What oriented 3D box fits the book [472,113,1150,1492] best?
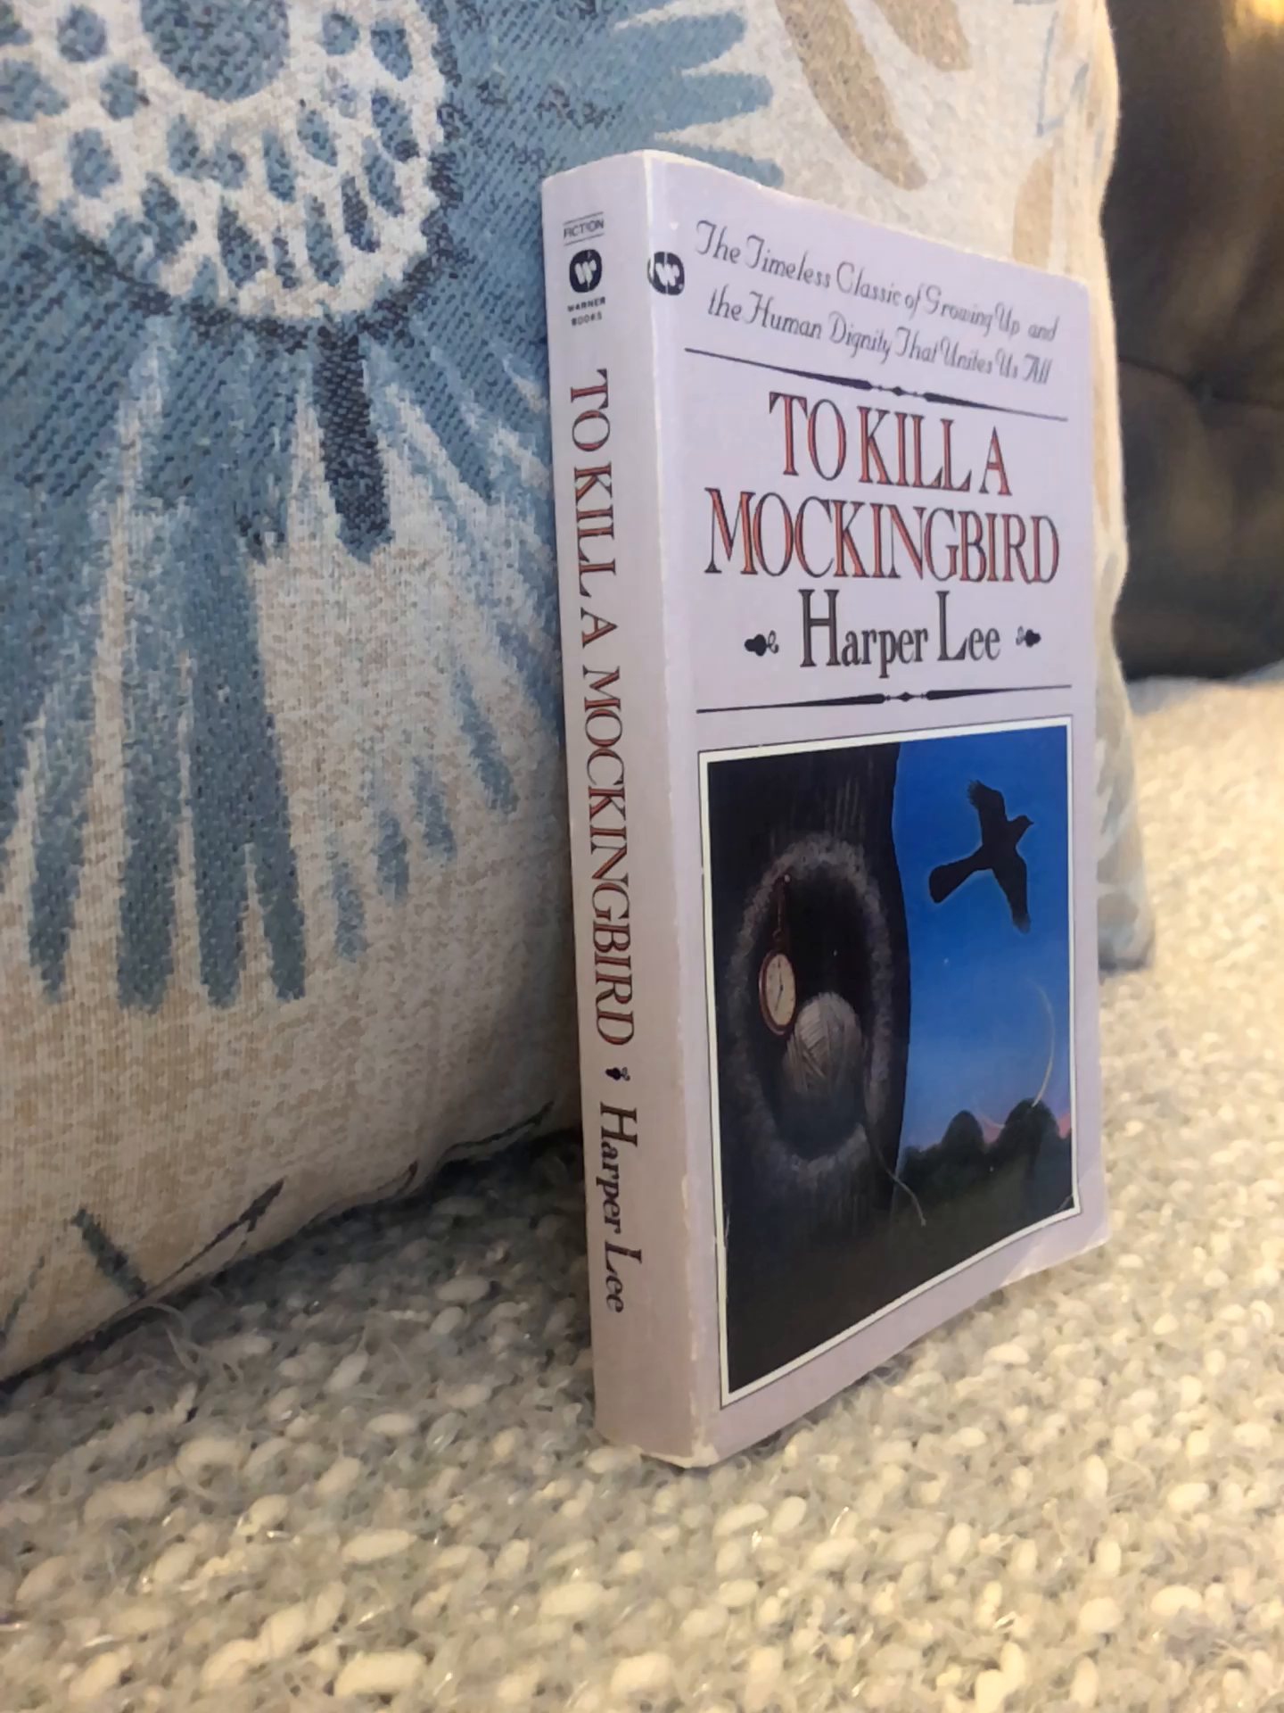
[{"bbox_3d":[0.034,-0.010,0.222,0.113,0.166,0.033,-8,8,-42],"label":"book"}]
